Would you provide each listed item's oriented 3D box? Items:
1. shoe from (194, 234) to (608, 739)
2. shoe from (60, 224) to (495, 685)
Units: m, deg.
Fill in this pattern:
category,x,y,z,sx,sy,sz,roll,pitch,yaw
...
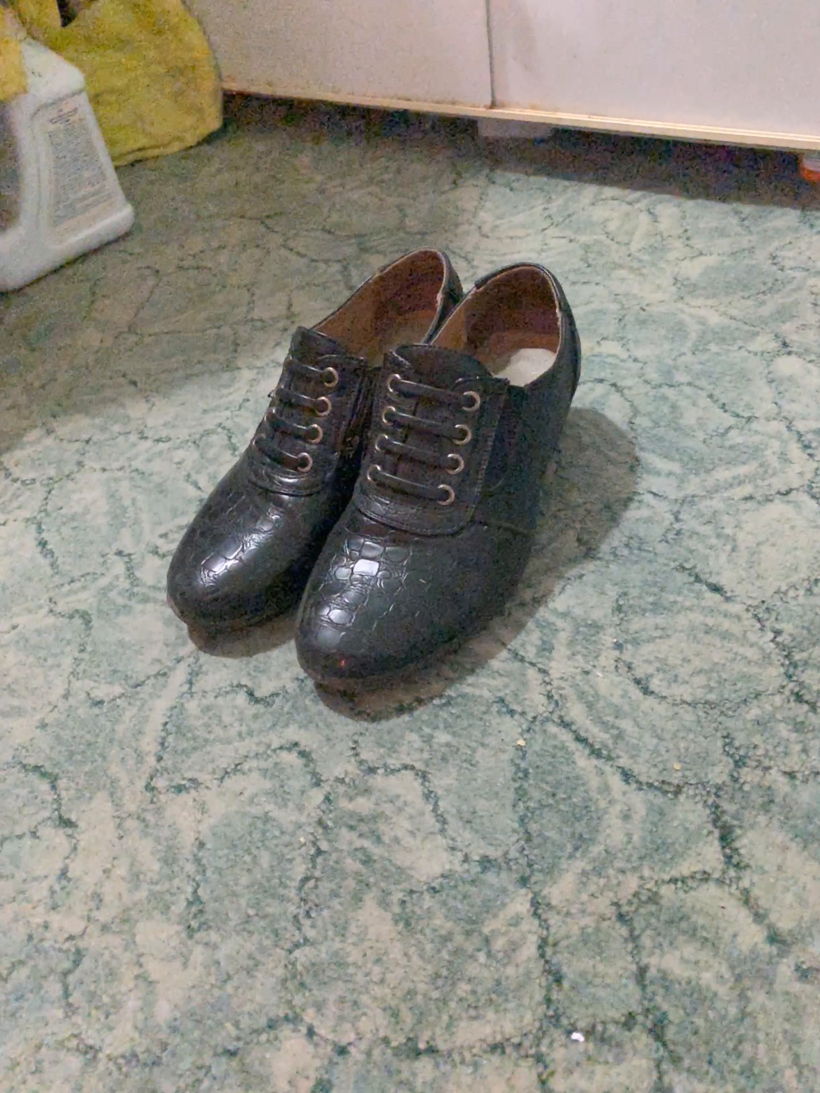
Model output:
category,x,y,z,sx,sy,sz,roll,pitch,yaw
shoe,0.014,-0.040,0.407,0.090,0.119,0.211,17,51,25
shoe,-0.050,-0.060,0.452,0.090,0.119,0.221,20,53,27
